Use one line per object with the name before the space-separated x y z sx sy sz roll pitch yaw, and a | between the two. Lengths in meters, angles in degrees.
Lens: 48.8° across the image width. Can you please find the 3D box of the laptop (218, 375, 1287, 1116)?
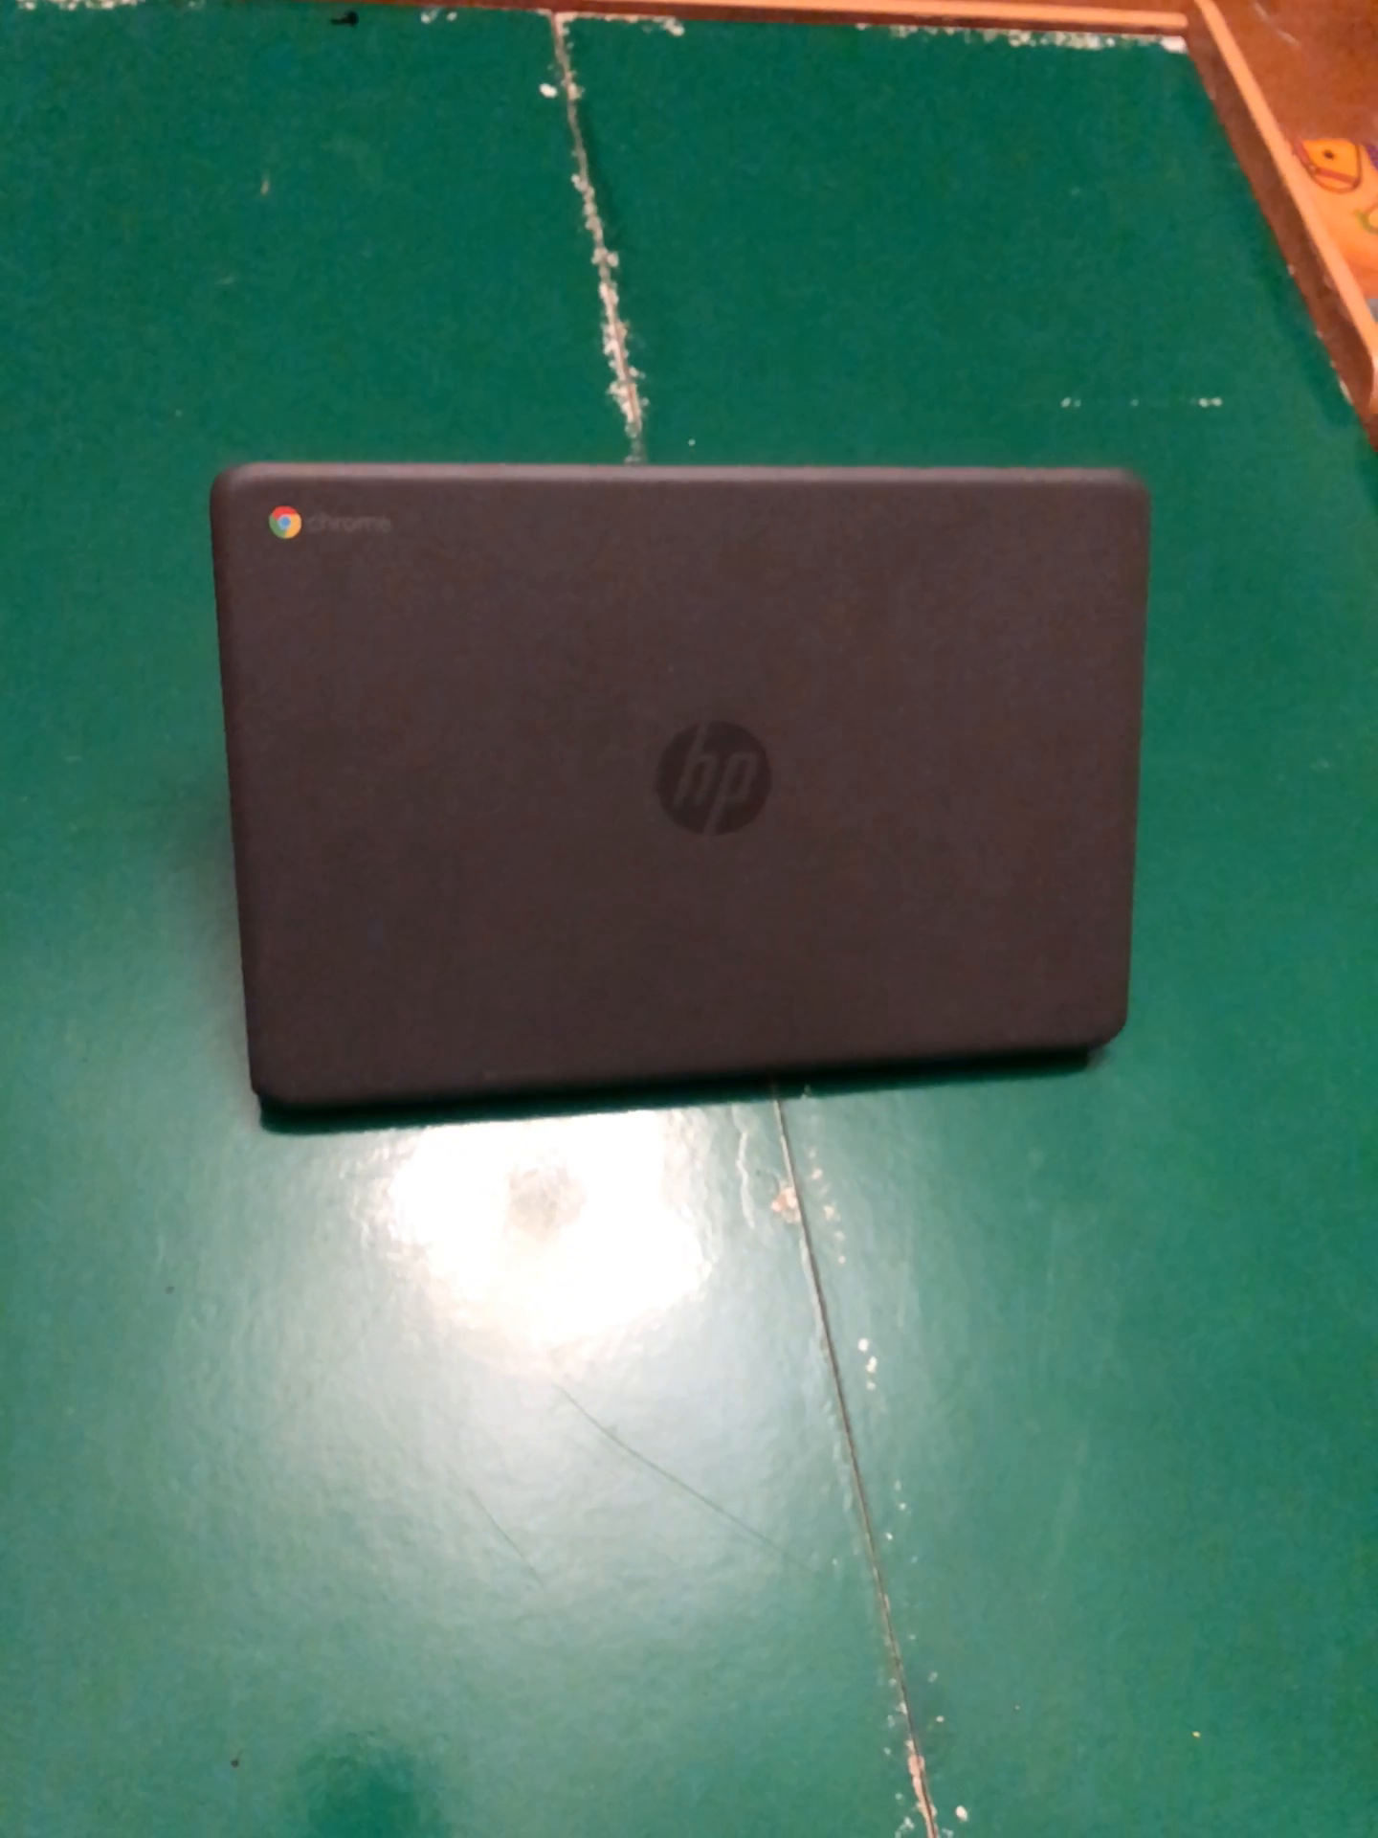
laptop | 0.005 -0.063 0.548 0.316 0.144 0.208 -3 62 -11
